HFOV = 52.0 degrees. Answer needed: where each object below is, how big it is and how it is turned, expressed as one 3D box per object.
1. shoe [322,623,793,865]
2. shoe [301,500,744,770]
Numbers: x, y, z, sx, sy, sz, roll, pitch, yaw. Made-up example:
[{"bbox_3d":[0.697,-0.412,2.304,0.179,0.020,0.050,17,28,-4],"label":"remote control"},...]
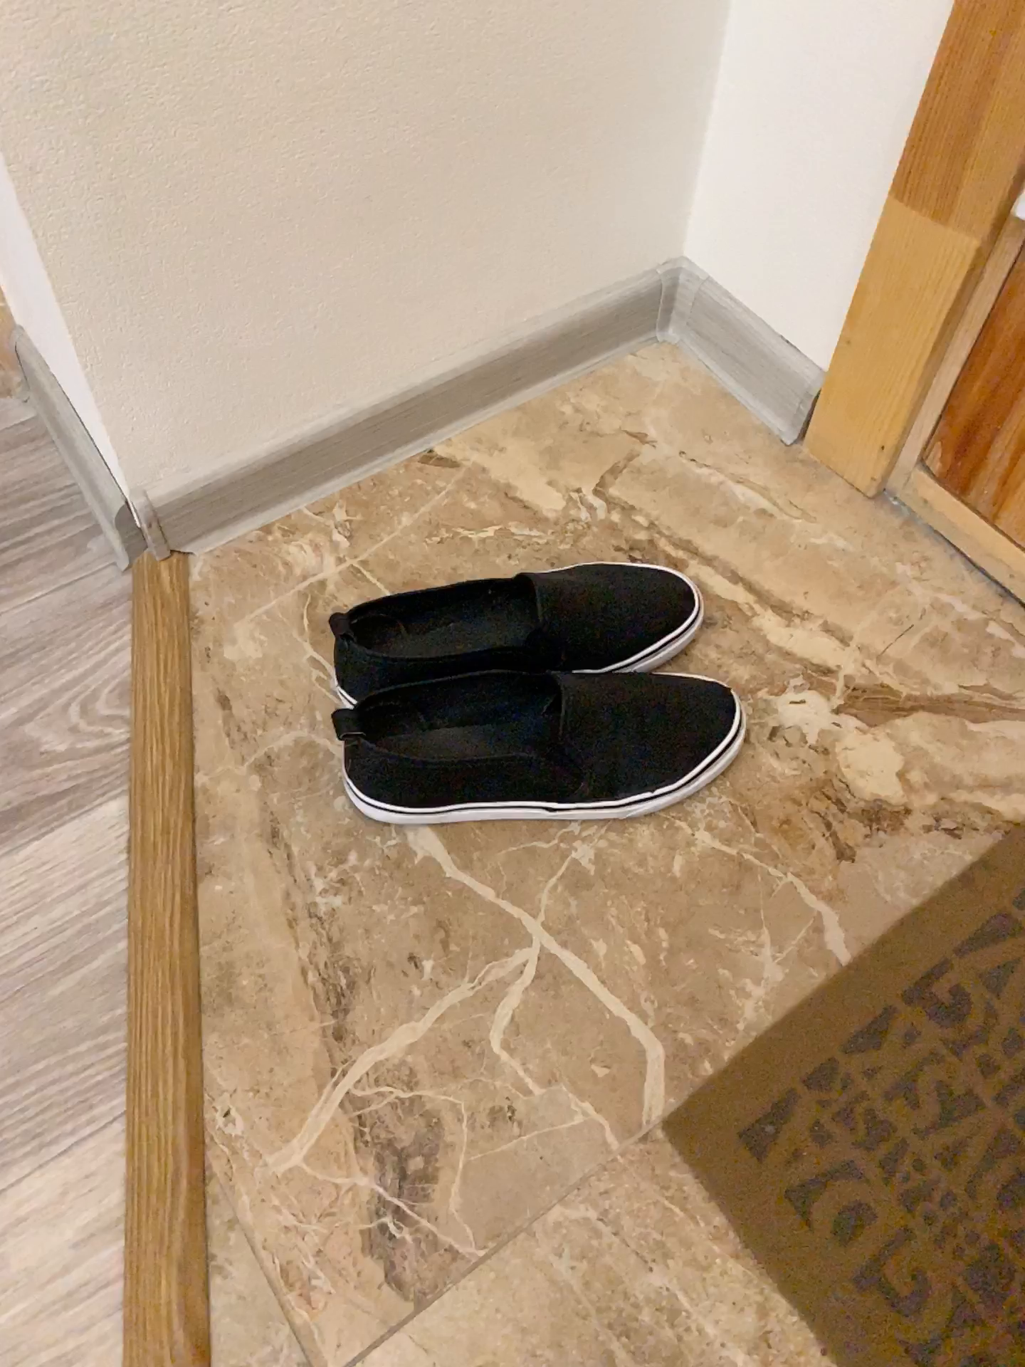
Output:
[{"bbox_3d":[0.022,0.033,0.612,0.250,0.060,0.090,-7,56,-7],"label":"shoe"},{"bbox_3d":[0.006,-0.034,0.655,0.250,0.060,0.090,-16,58,-13],"label":"shoe"}]
